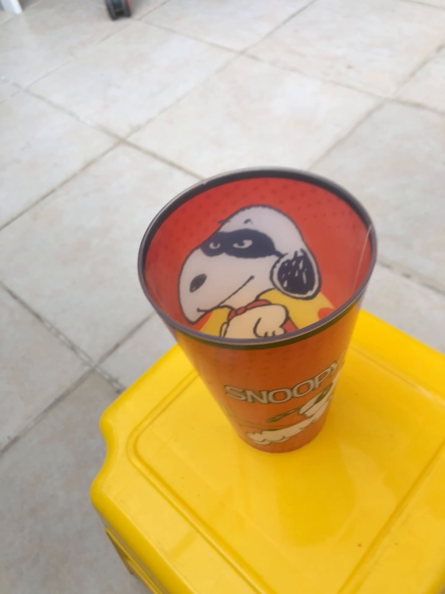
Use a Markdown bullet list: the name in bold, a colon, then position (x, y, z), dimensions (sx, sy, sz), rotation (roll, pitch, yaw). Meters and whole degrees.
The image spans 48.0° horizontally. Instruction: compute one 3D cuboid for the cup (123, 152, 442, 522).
- **cup**: position (0.024, 0.027, 0.260), dimensions (0.100, 0.139, 0.111), rotation (-16, 52, -2)
